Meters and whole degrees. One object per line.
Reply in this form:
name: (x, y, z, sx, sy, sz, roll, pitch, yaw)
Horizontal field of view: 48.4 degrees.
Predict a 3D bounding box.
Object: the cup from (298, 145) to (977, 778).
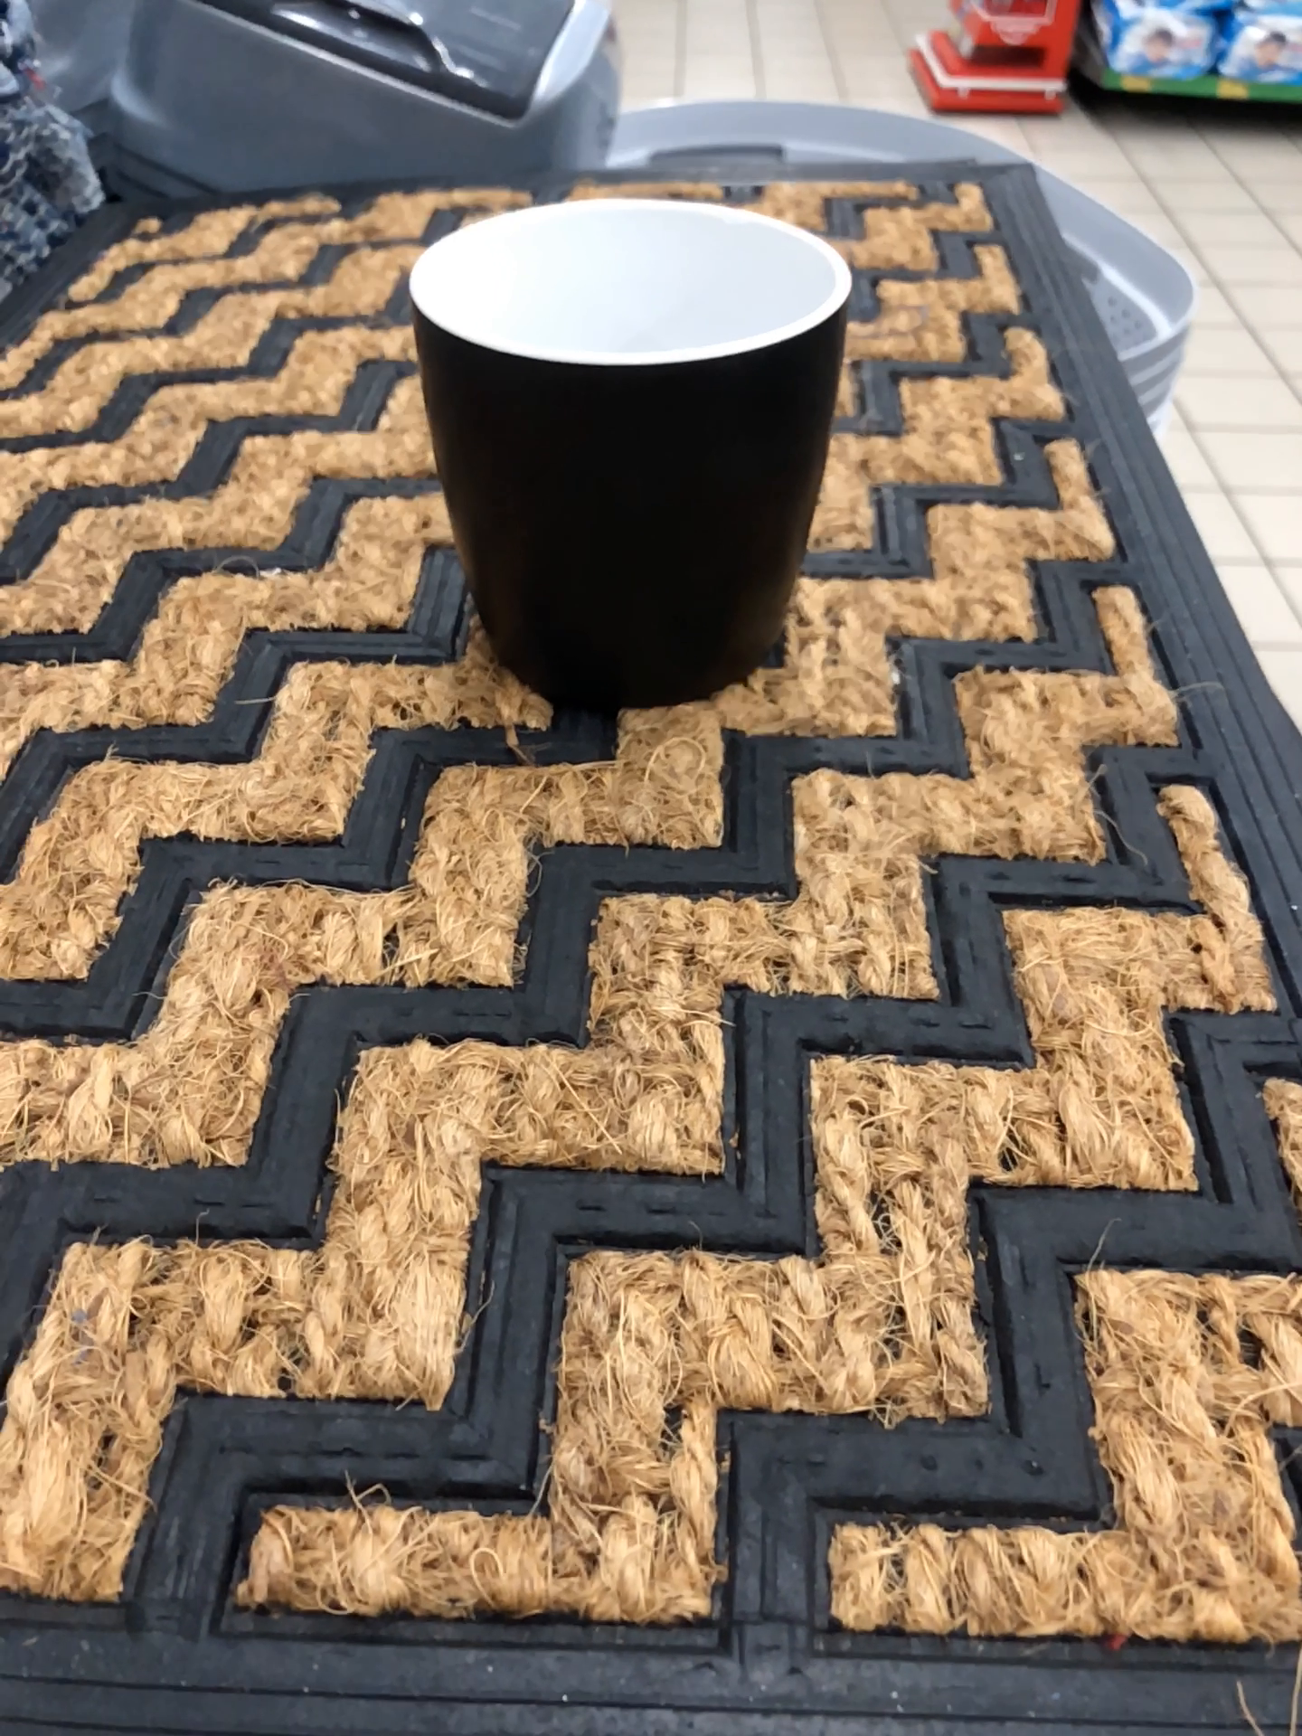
cup: (0.001, -0.100, 0.332, 0.090, 0.081, 0.123, 24, 47, 24)
